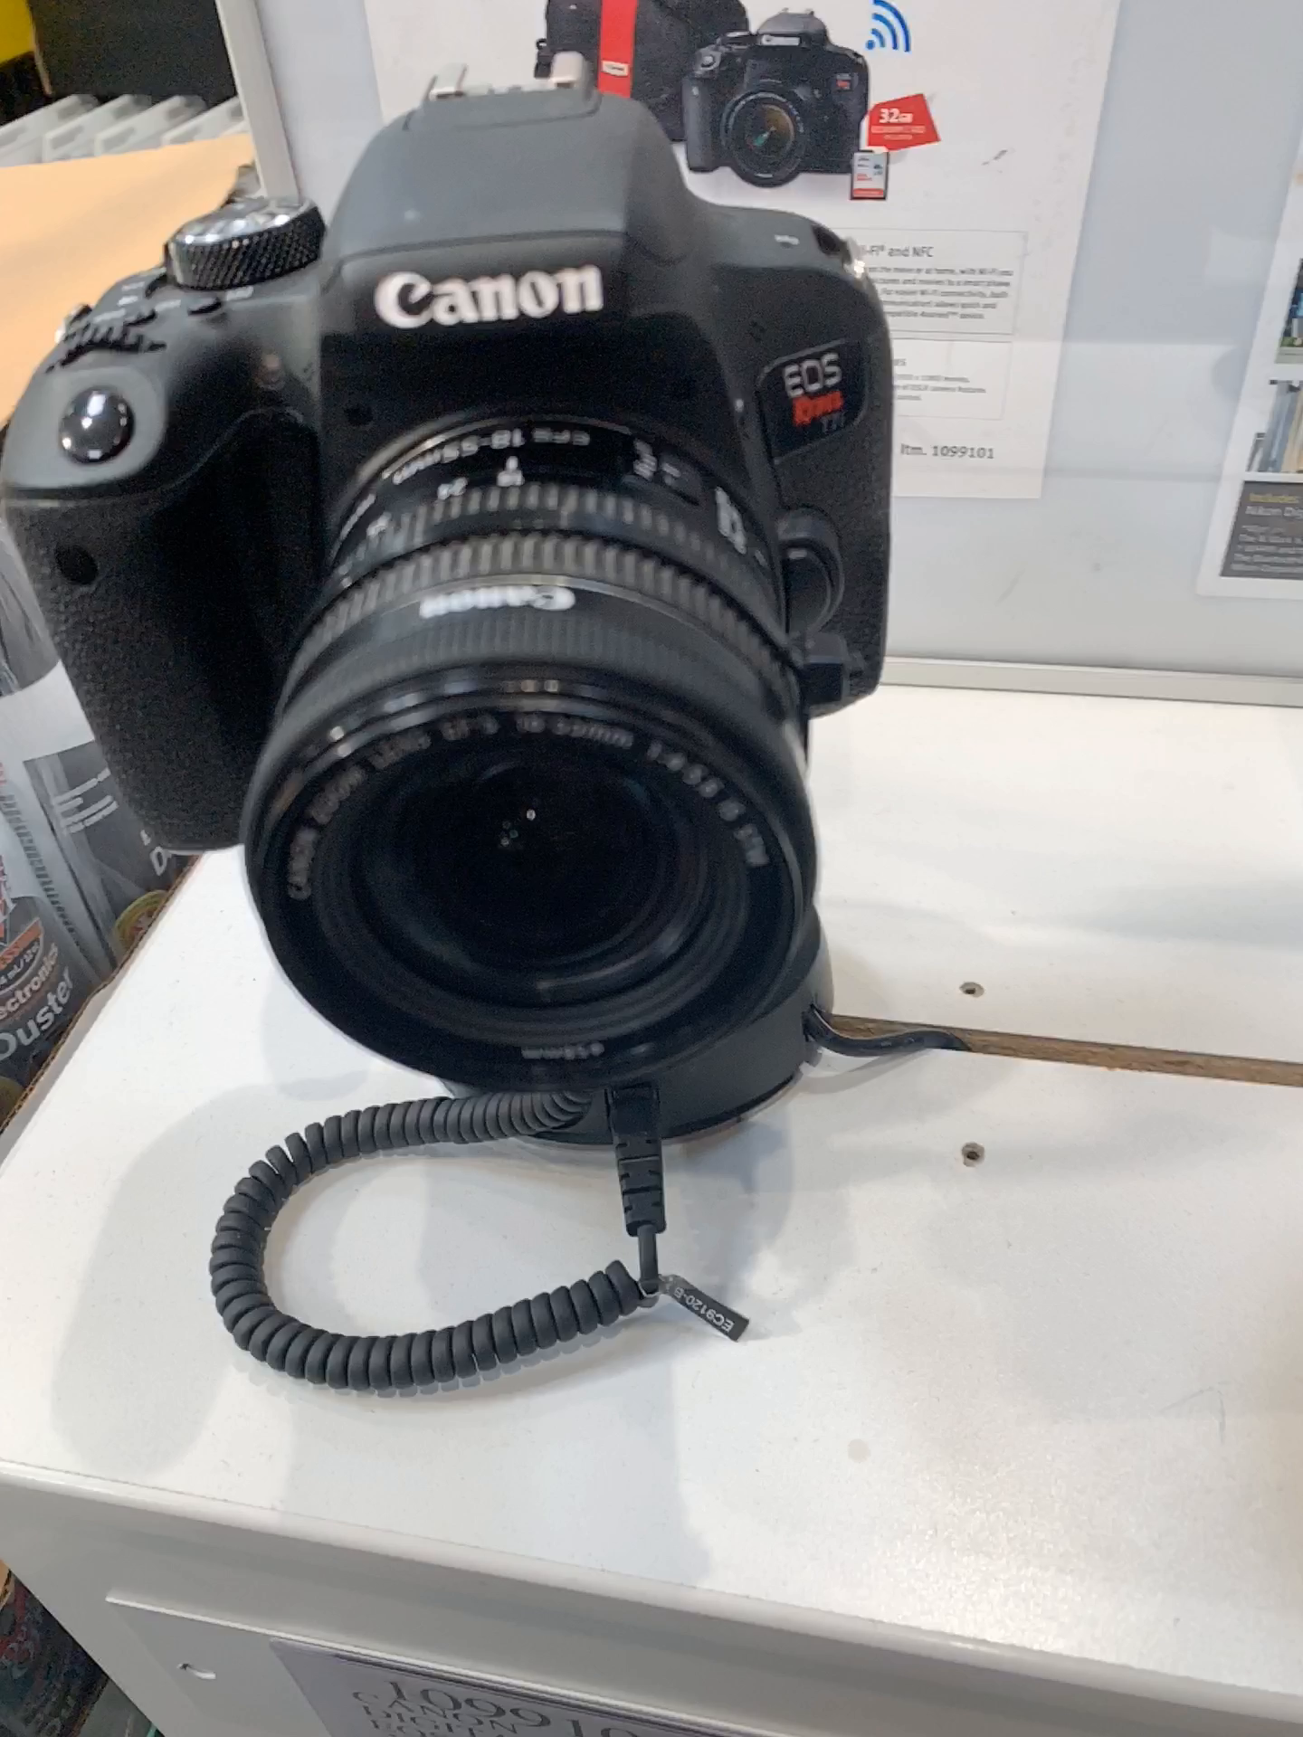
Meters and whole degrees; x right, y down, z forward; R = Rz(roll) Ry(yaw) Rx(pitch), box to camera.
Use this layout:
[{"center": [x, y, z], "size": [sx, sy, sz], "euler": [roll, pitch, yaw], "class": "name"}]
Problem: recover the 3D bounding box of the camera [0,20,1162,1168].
[{"center": [-0.027, -0.041, 0.172], "size": [0.134, 0.089, 0.121], "euler": [-2, 41, 3], "class": "camera"}]
